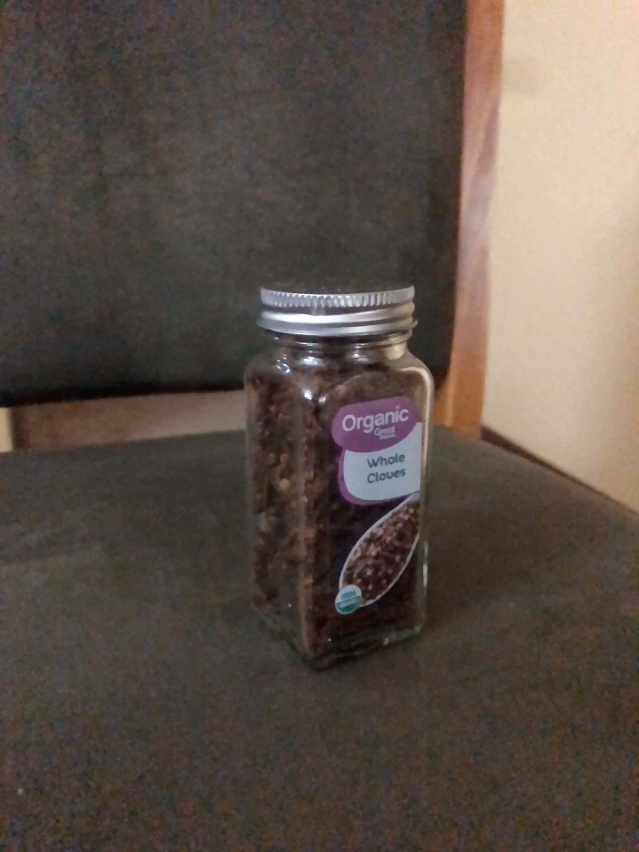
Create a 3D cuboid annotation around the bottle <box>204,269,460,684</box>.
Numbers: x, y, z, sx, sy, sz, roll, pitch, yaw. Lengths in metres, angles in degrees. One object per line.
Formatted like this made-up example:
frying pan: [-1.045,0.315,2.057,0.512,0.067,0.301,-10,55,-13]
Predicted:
bottle: [0.002,0.009,0.205,0.050,0.100,0.050,-1,17,0]
